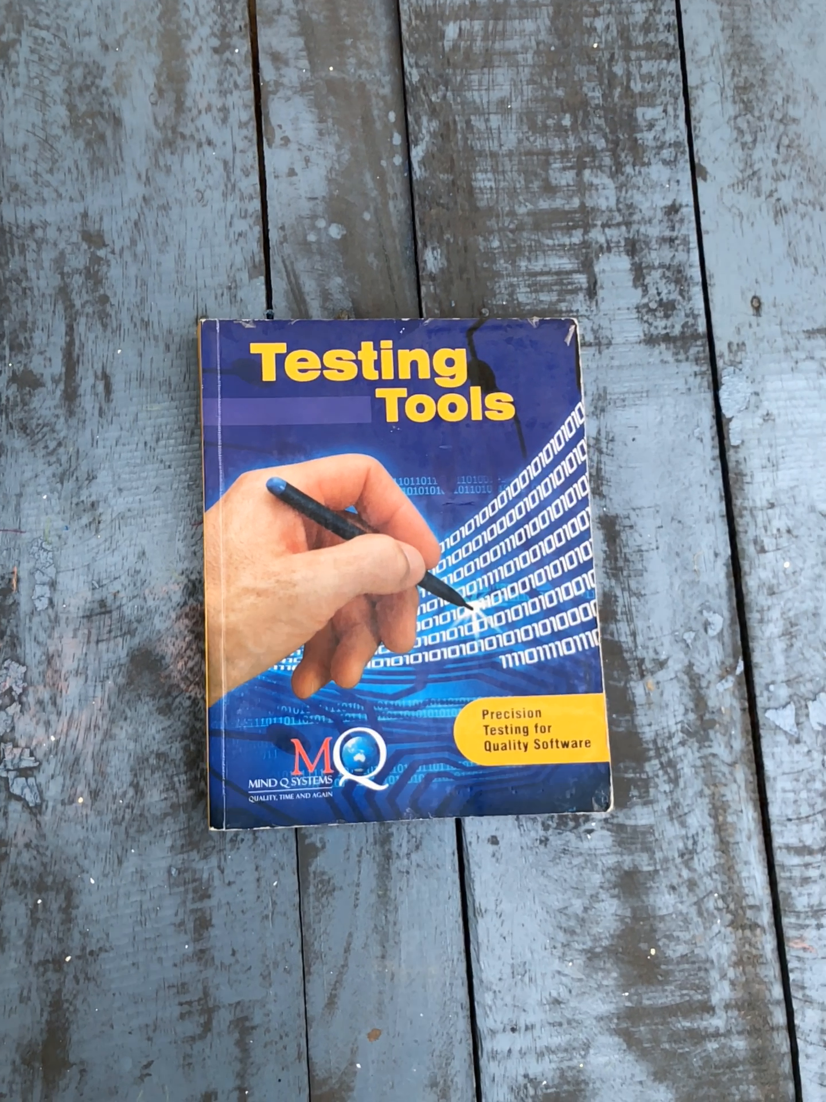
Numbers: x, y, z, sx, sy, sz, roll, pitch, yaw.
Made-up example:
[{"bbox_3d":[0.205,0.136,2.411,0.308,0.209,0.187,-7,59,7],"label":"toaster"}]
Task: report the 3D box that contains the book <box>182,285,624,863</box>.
[{"bbox_3d":[-0.009,0.006,0.449,0.190,0.050,0.260,-3,81,-4],"label":"book"}]
